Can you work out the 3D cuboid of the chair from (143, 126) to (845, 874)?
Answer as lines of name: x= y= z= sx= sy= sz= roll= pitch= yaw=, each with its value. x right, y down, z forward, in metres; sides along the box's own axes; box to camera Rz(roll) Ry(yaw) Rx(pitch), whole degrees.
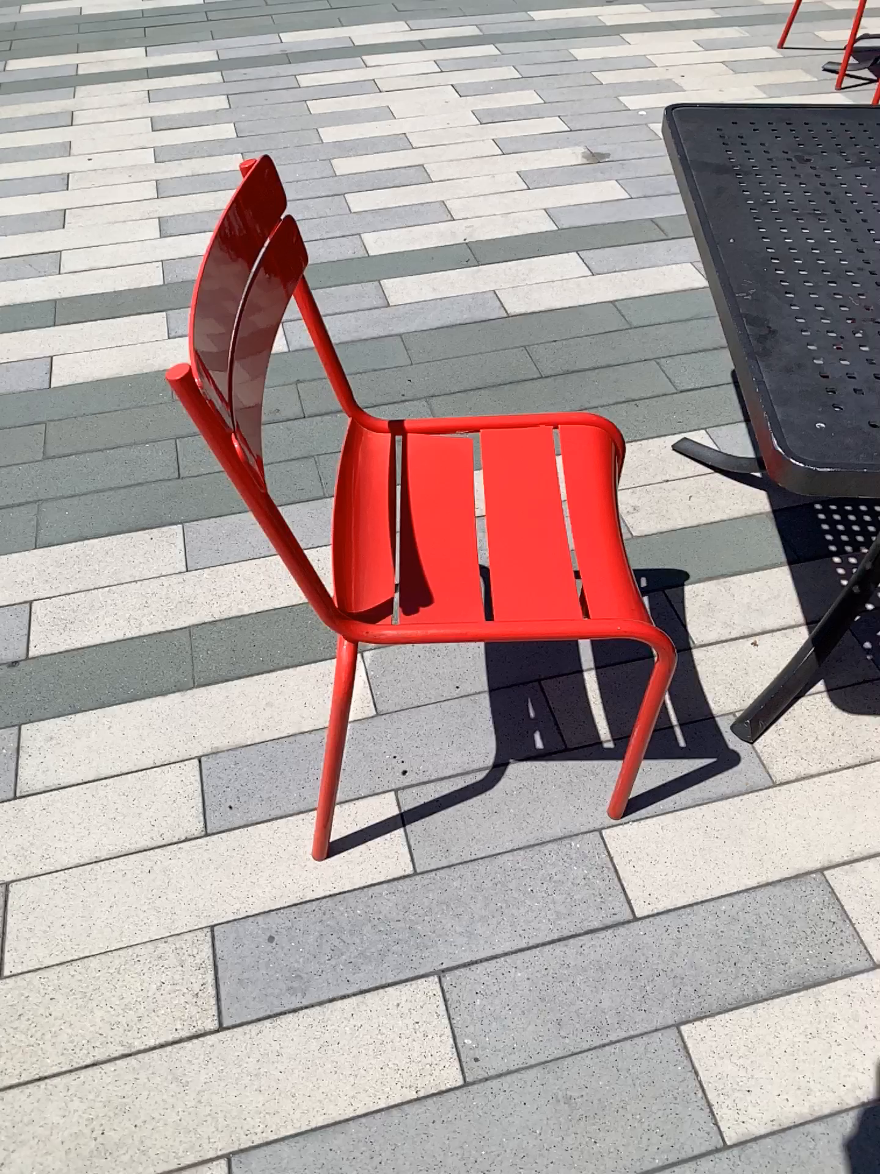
chair: x=0.036 y=-0.078 z=1.248 sx=0.580 sy=0.846 sz=0.583 roll=-1 pitch=47 yaw=-1
